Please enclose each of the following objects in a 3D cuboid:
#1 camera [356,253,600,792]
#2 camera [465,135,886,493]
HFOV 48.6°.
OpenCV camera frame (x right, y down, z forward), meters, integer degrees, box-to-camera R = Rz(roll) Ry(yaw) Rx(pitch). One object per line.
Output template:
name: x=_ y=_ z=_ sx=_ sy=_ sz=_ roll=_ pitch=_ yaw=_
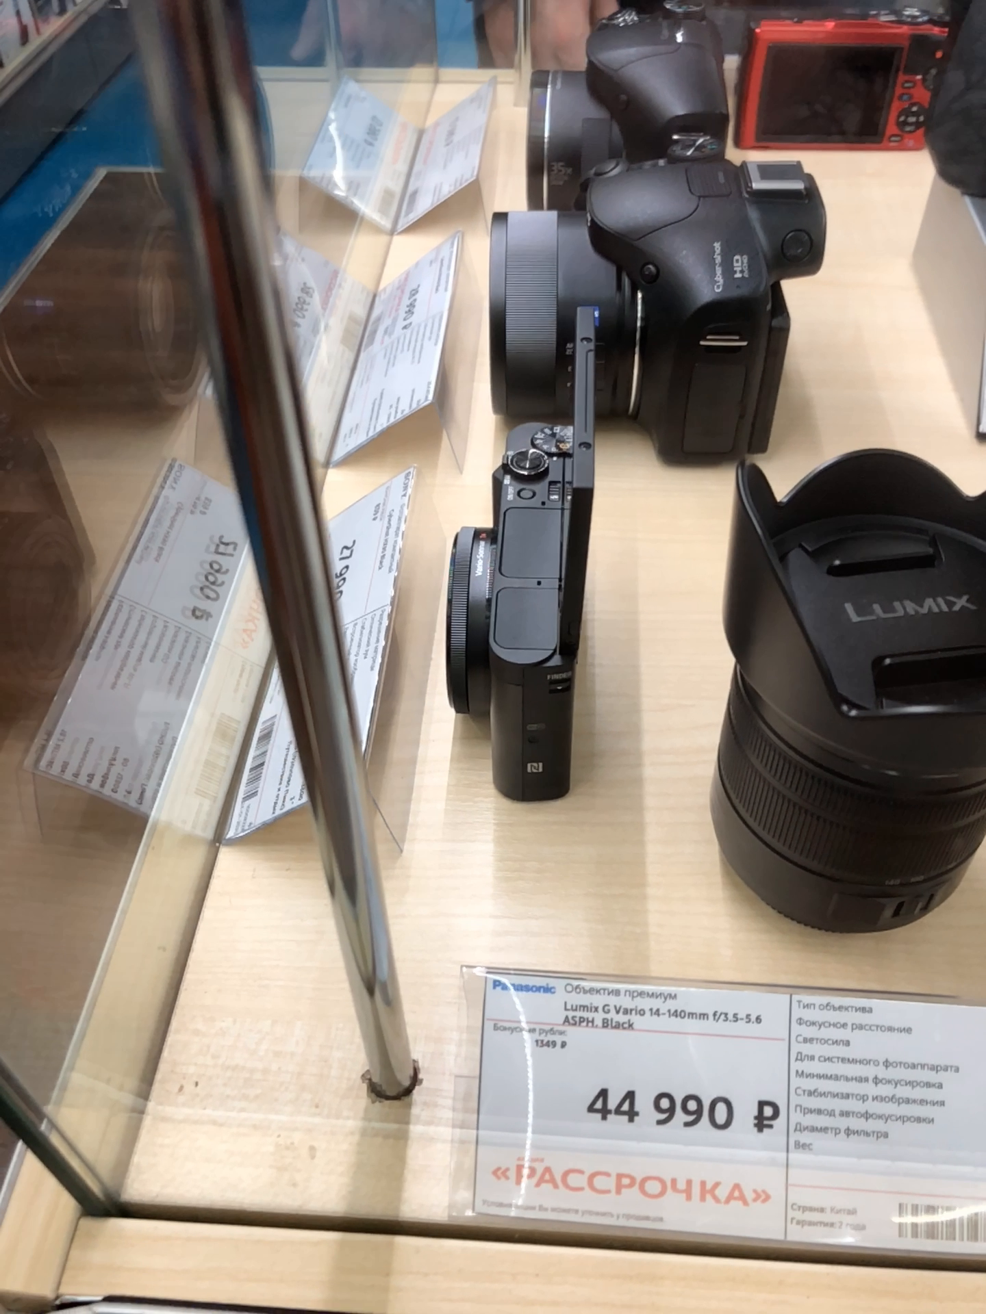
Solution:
camera: x=0.001 y=-0.037 z=0.301 sx=0.050 sy=0.107 sz=0.101 roll=2 pitch=46 yaw=4
camera: x=0.065 y=-0.139 z=0.429 sx=0.136 sy=0.078 sz=0.133 roll=2 pitch=46 yaw=4
